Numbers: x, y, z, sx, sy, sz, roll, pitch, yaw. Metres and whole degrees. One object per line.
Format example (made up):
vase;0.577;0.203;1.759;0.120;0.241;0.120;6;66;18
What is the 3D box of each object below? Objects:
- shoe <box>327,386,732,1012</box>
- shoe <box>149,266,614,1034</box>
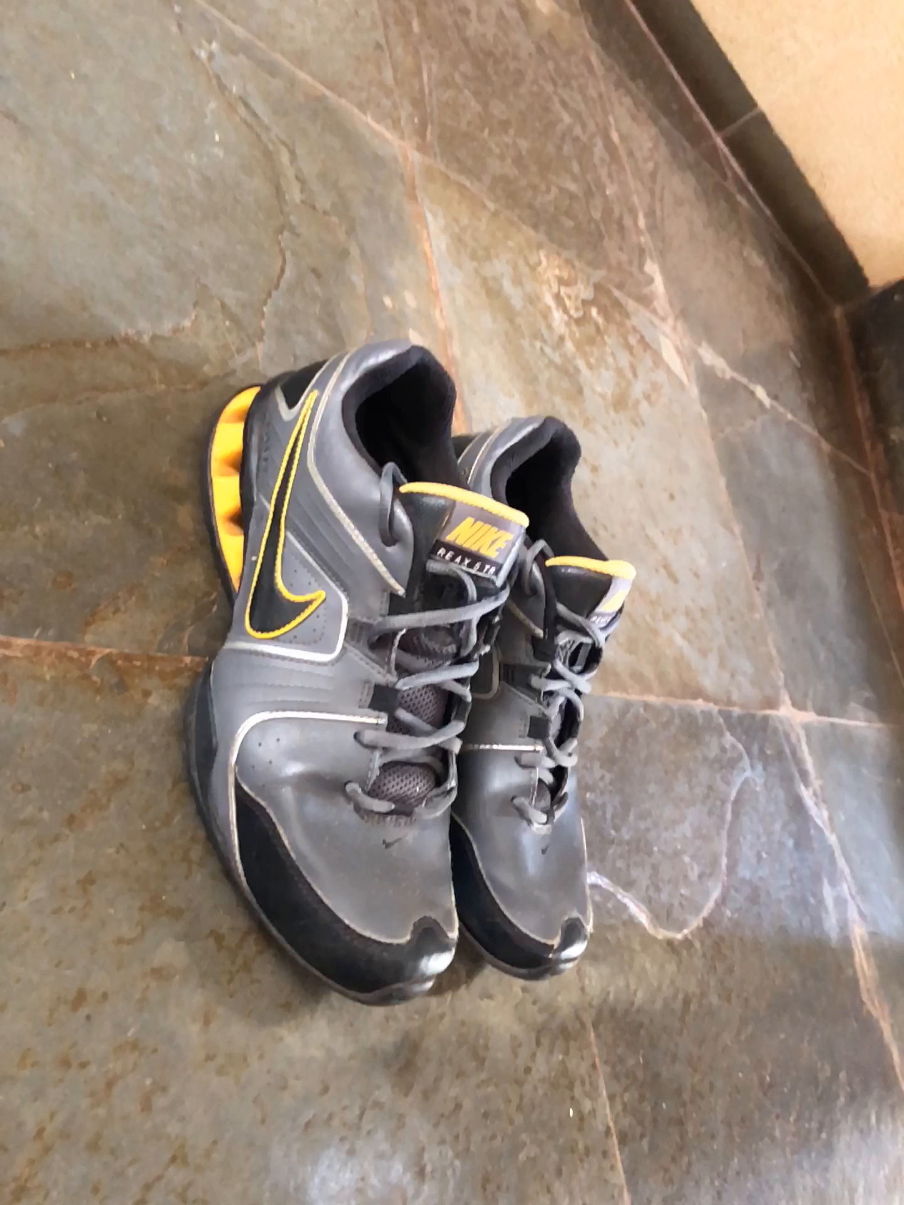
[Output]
shoe;0.029;0.044;0.450;0.101;0.099;0.241;14;59;-49
shoe;-0.034;0.019;0.372;0.101;0.099;0.241;14;59;-49
